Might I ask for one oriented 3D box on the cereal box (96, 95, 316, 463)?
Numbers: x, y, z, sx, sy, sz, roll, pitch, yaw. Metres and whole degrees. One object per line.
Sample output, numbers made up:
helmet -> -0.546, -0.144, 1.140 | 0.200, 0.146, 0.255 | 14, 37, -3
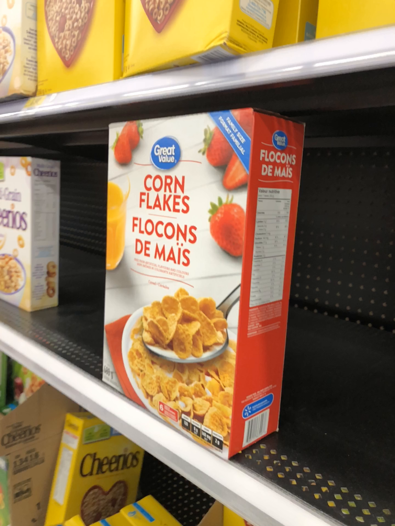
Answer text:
cereal box -> -0.010, 0.001, 0.499 | 0.090, 0.329, 0.241 | -6, 13, -44
